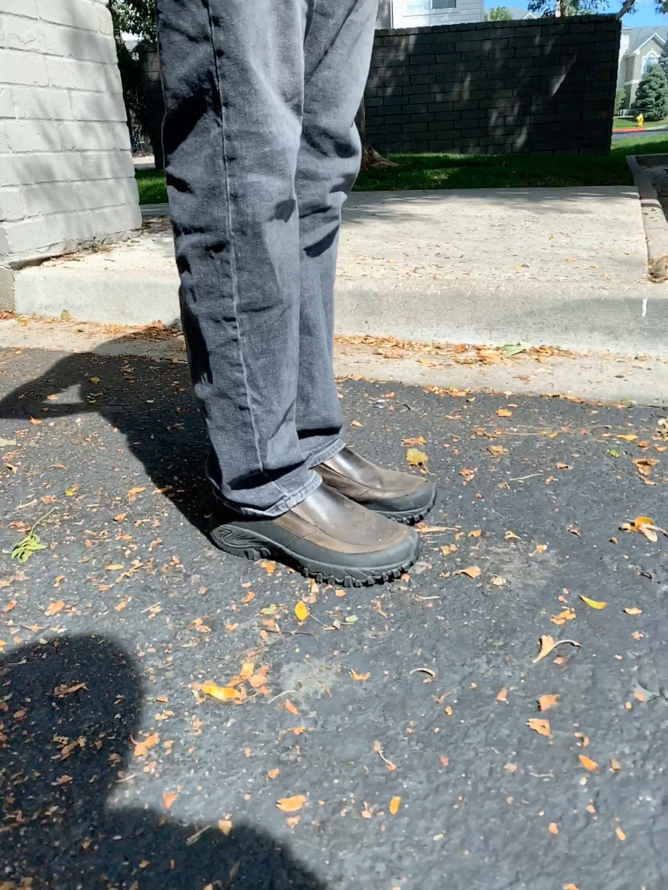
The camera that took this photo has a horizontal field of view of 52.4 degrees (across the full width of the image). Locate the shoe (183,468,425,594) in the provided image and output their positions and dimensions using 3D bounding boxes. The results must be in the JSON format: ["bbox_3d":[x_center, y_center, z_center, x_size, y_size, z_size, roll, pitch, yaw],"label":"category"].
[{"bbox_3d":[-0.038,0.104,0.883,0.290,0.070,0.110,8,24,21],"label":"shoe"}]

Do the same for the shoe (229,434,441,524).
[{"bbox_3d":[0.004,0.045,1.005,0.290,0.070,0.110,4,23,18],"label":"shoe"}]
